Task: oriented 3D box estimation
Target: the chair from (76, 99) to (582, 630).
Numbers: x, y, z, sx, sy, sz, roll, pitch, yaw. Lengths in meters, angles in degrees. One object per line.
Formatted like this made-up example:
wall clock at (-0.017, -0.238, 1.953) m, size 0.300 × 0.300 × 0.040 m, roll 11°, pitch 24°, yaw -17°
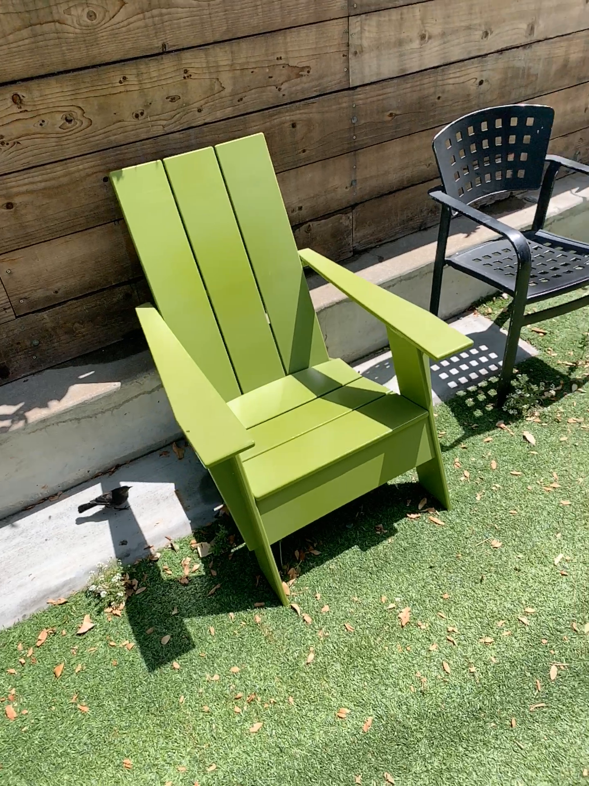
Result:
chair at (0.020, -0.142, 1.566) m, size 0.720 × 0.845 × 0.905 m, roll -22°, pitch 43°, yaw -19°
